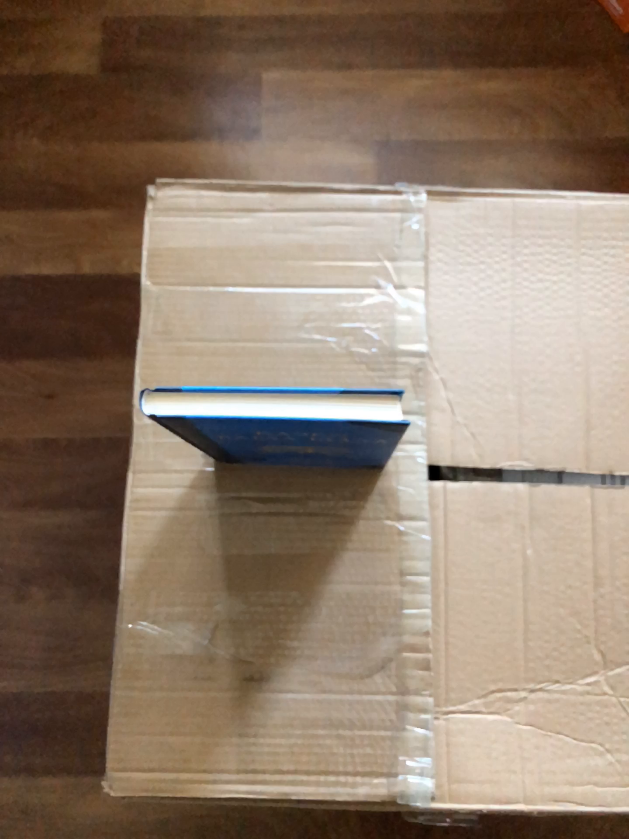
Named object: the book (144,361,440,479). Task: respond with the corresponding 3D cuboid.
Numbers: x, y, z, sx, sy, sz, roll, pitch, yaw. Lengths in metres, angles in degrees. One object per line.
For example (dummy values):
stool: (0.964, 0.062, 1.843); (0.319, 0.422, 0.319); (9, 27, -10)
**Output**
book: (-0.010, 0.008, 0.439); (0.144, 0.200, 0.030); (2, 78, 1)
